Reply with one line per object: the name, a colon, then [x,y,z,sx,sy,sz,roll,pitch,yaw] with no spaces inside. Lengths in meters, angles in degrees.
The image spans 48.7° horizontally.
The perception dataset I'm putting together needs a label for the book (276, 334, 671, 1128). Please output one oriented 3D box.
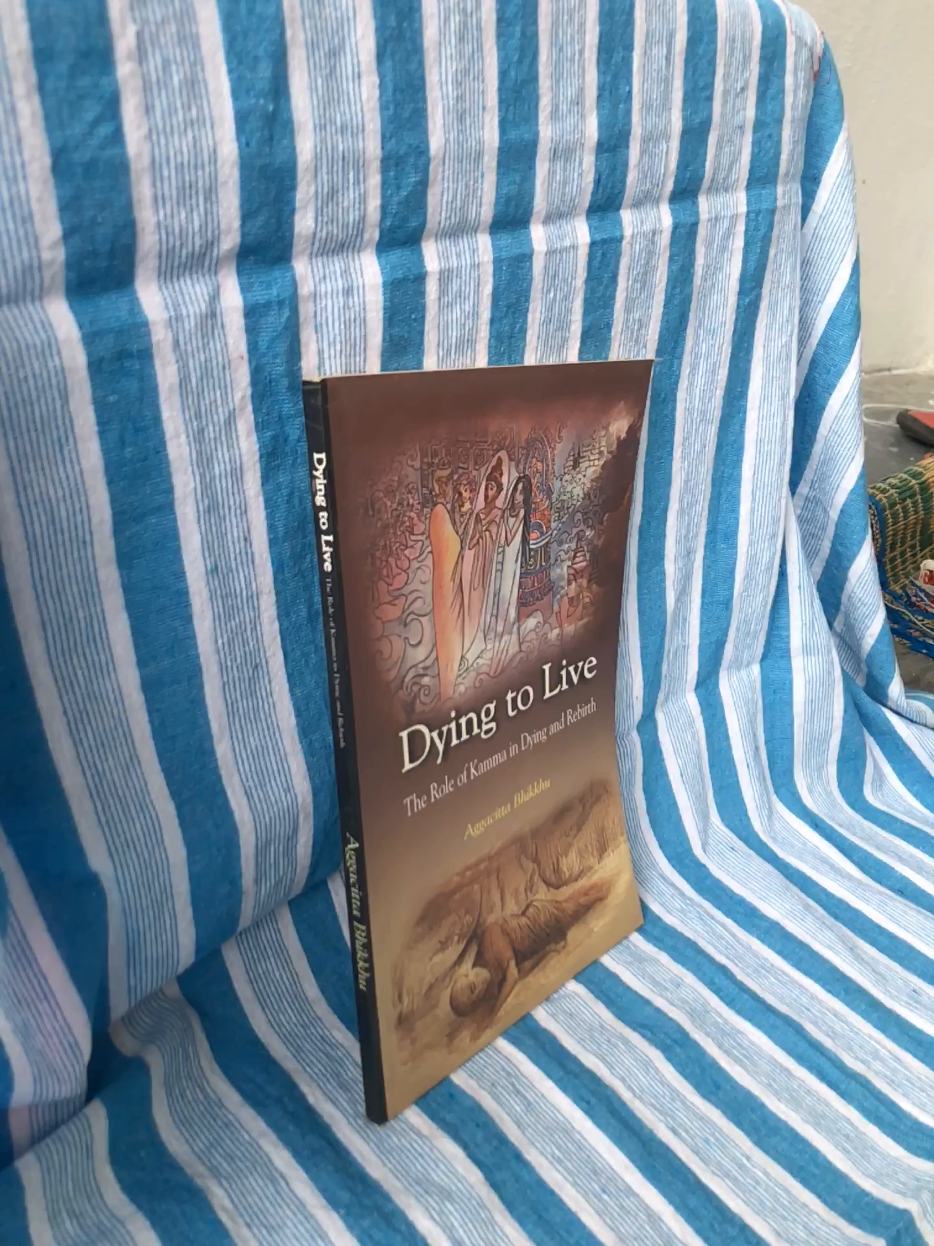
book: [0.015,0.020,0.326,0.020,0.210,0.151,4,13,39]
